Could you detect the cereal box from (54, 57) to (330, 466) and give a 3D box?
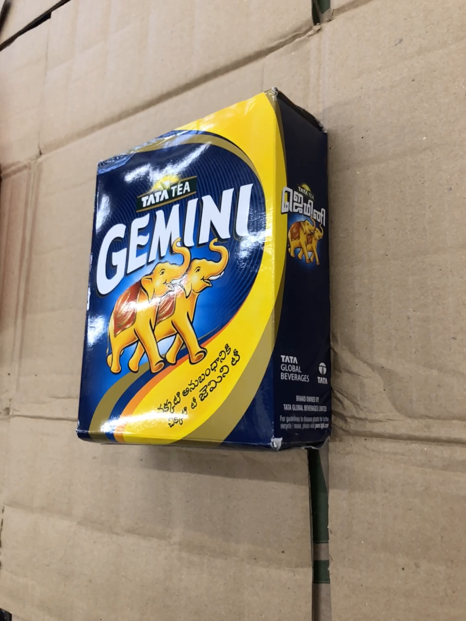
[{"bbox_3d":[-0.027,-0.015,0.271,0.140,0.050,0.170,-7,78,38],"label":"cereal box"}]
